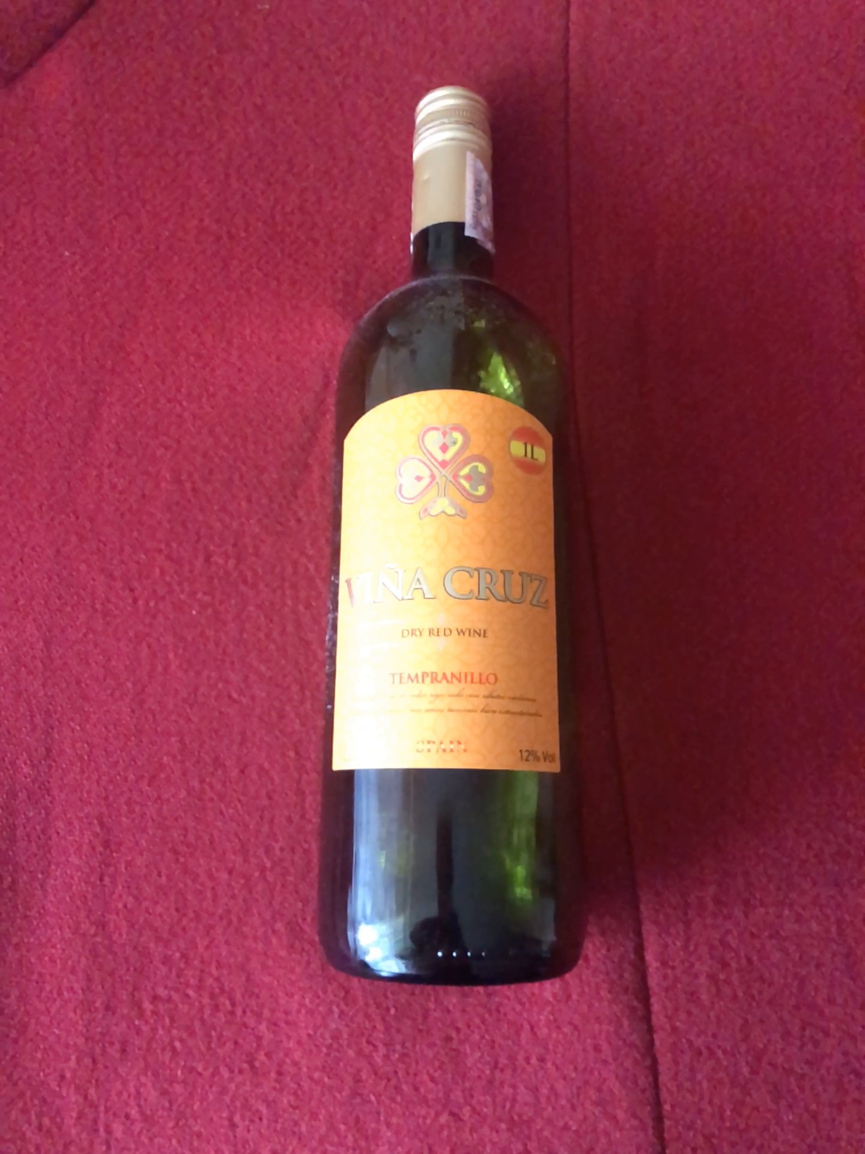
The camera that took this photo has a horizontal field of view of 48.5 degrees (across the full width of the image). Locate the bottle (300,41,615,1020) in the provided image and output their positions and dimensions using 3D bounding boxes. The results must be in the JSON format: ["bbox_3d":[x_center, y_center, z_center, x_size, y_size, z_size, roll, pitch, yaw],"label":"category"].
[{"bbox_3d":[0.008,-0.024,0.317,0.080,0.070,0.300,-1,75,3],"label":"bottle"}]
